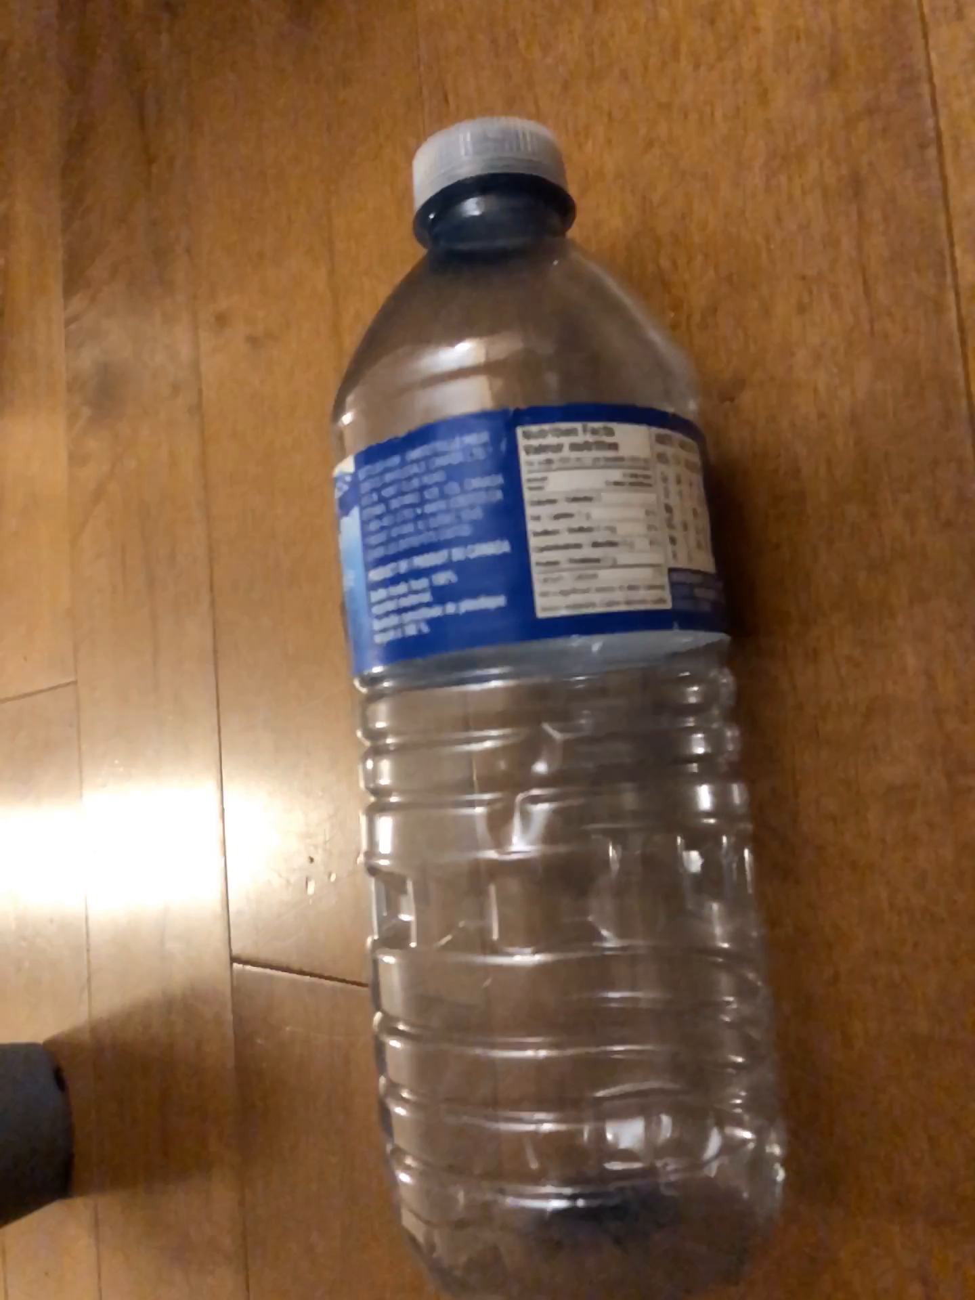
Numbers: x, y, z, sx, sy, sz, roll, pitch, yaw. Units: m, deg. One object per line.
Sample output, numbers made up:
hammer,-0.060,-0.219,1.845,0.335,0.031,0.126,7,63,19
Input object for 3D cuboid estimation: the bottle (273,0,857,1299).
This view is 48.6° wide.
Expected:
bottle,0.011,-0.002,0.193,0.070,0.070,0.200,-5,82,8
